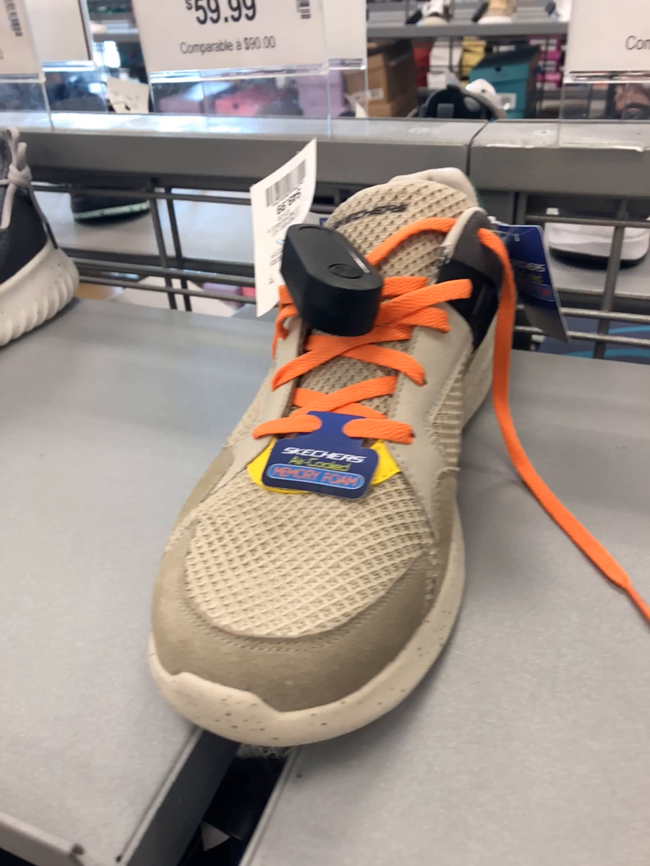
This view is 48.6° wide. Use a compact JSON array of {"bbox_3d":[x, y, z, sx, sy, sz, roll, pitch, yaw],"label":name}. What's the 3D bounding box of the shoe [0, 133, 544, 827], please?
[{"bbox_3d":[0.008,-0.024,0.294,0.125,0.109,0.282,8,39,17],"label":"shoe"}]
